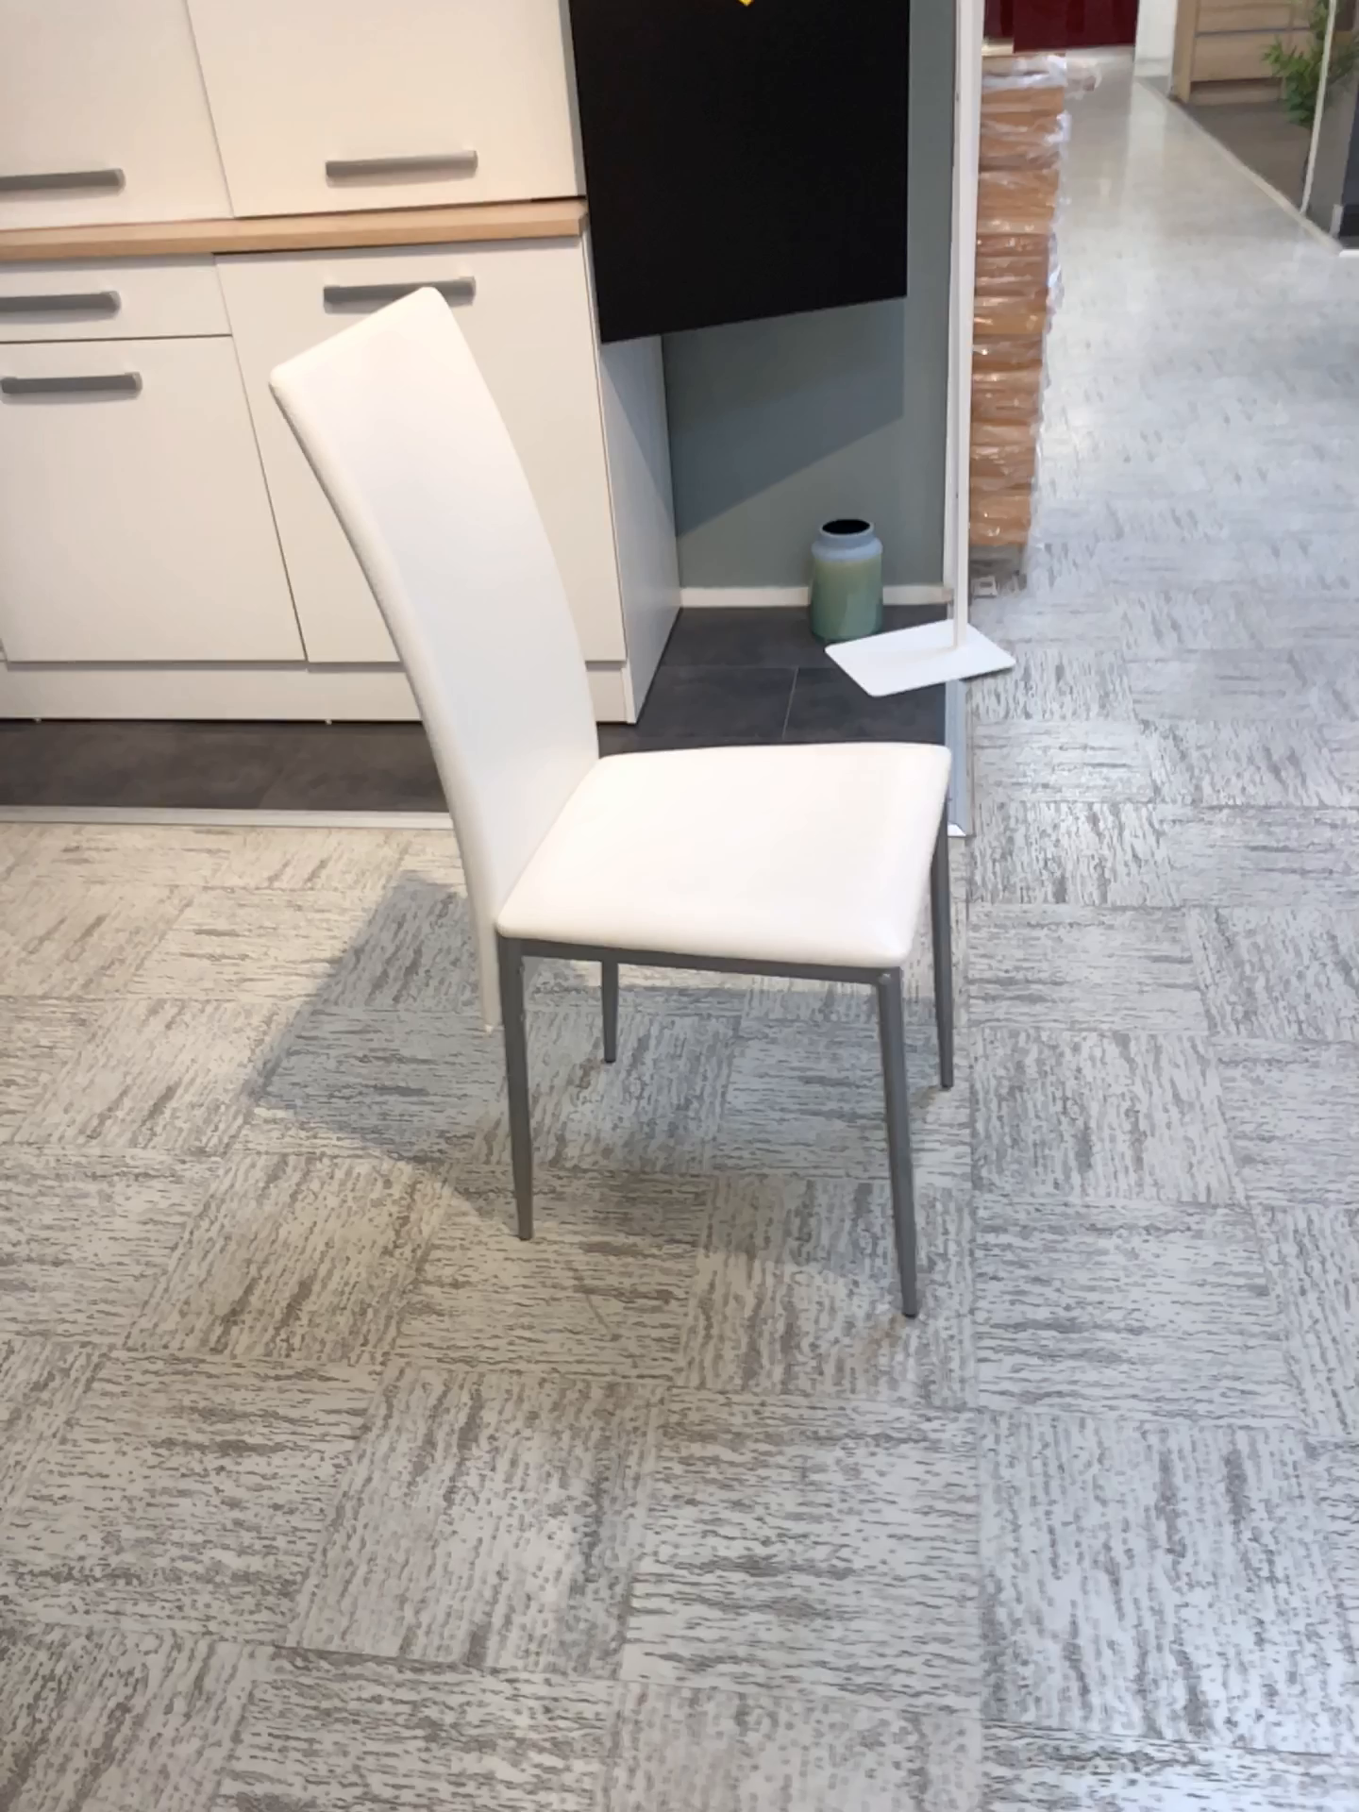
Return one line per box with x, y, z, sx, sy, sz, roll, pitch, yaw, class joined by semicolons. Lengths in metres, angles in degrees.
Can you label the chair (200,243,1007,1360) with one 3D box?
0.002;-0.100;1.477;0.549;0.945;0.473;5;33;15;chair
